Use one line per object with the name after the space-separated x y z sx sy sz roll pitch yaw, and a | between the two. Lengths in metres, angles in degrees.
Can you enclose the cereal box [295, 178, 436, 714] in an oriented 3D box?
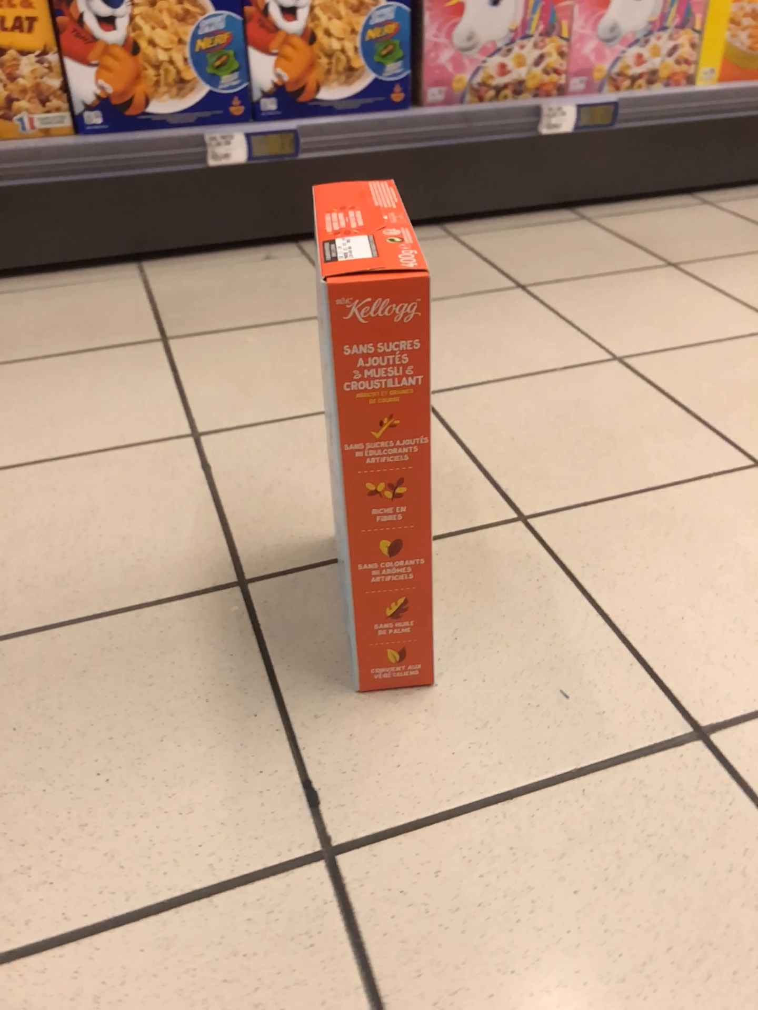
-0.007 -0.030 0.434 0.050 0.229 0.151 -5 34 -3 | cereal box
